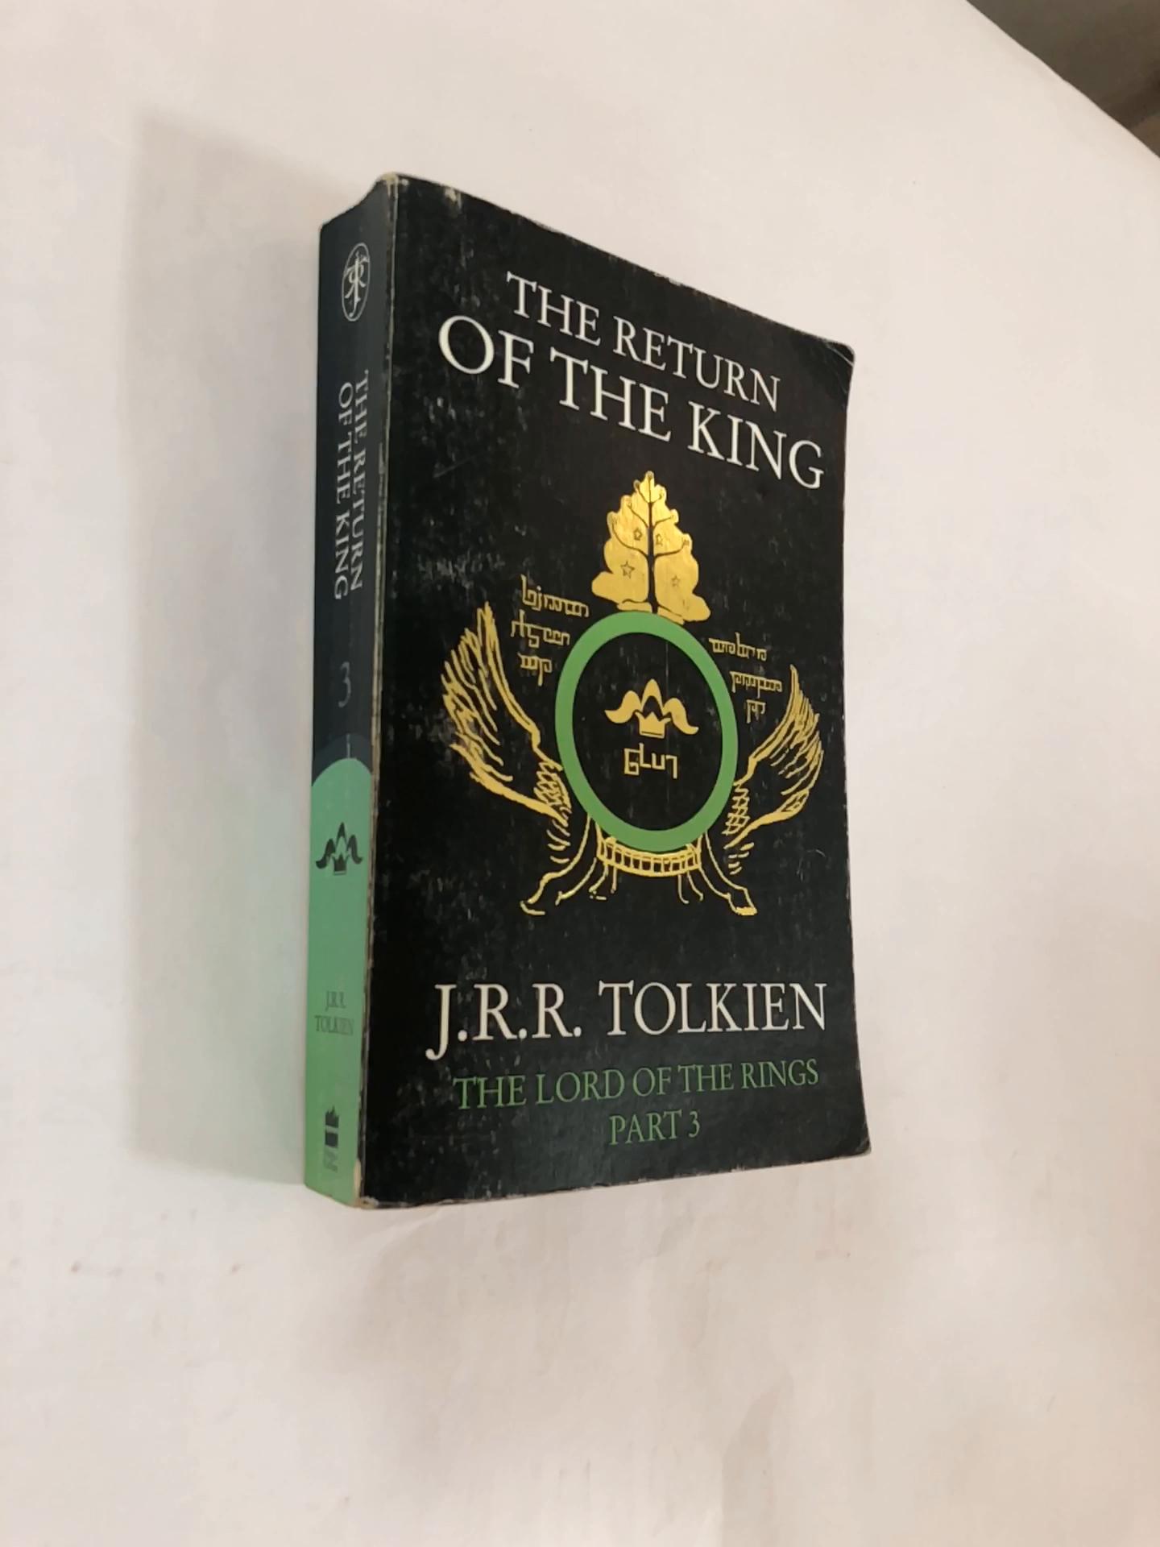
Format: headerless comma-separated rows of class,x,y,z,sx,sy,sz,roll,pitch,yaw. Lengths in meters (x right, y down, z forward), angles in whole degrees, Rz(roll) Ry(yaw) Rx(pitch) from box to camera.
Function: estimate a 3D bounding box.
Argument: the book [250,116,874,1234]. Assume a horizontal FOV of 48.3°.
book,0.001,-0.016,0.281,0.131,0.040,0.200,6,79,-37
